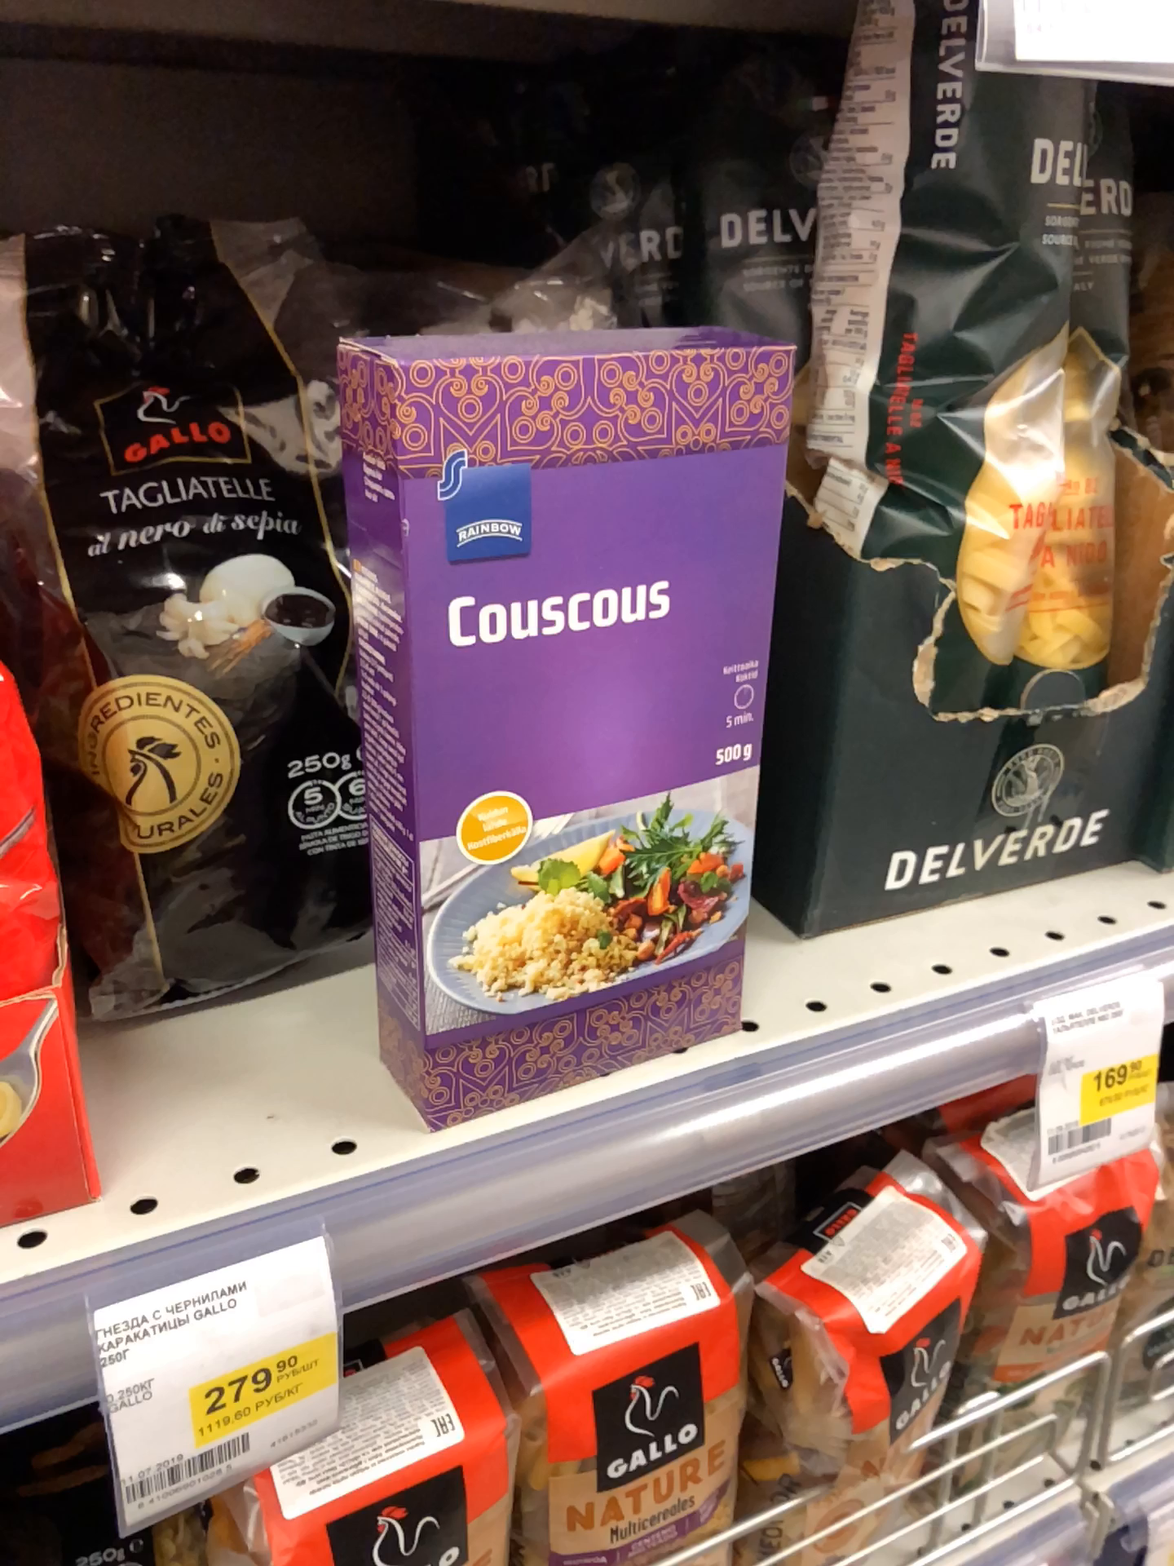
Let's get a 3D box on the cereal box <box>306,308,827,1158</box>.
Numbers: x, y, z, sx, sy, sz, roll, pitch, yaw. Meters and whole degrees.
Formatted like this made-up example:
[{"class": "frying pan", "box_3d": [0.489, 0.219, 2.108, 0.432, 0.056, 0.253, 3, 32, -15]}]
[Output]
[{"class": "cereal box", "box_3d": [-0.006, -0.013, 0.330, 0.110, 0.199, 0.040, -11, 27, -26]}]
